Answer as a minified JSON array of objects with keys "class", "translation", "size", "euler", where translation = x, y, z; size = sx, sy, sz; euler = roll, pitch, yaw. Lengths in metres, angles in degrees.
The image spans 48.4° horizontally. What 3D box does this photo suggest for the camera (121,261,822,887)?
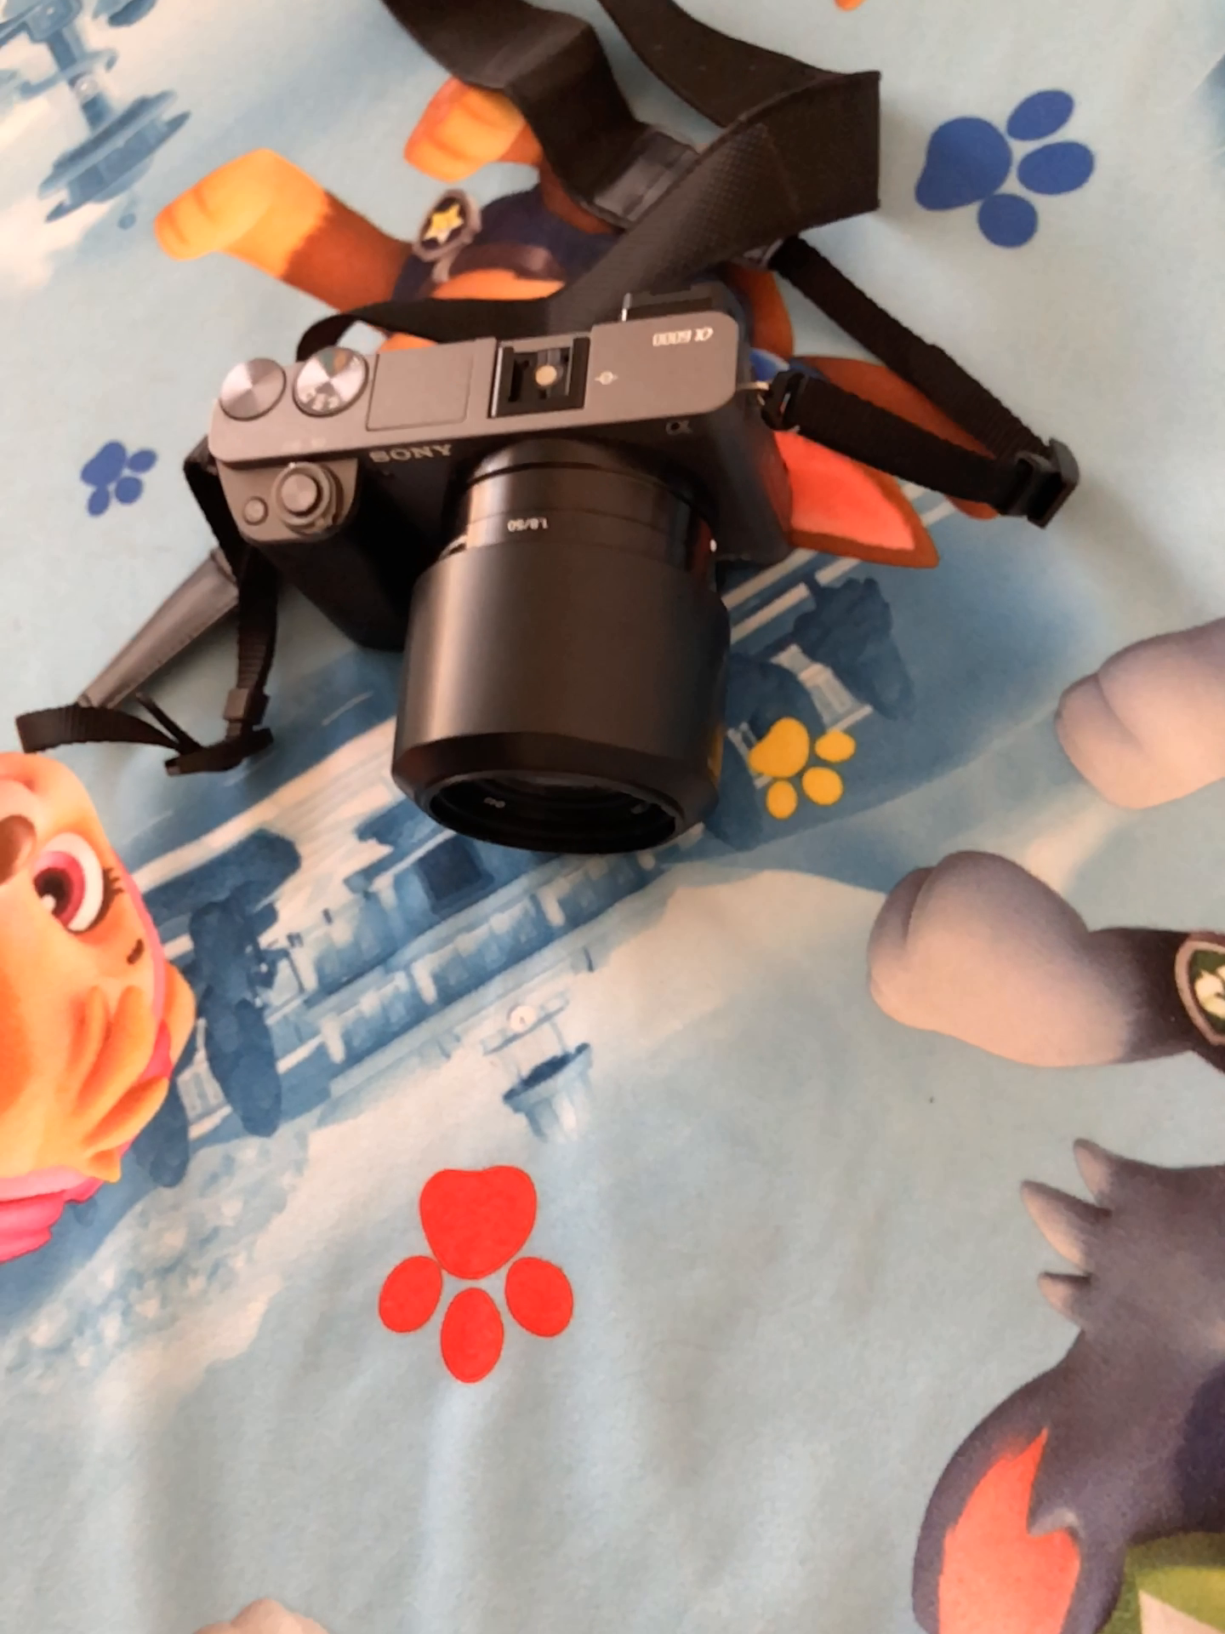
[{"class":"camera","translation":[-0.025,-0.048,0.320],"size":[0.130,0.080,0.110],"euler":[-1,70,19]}]
